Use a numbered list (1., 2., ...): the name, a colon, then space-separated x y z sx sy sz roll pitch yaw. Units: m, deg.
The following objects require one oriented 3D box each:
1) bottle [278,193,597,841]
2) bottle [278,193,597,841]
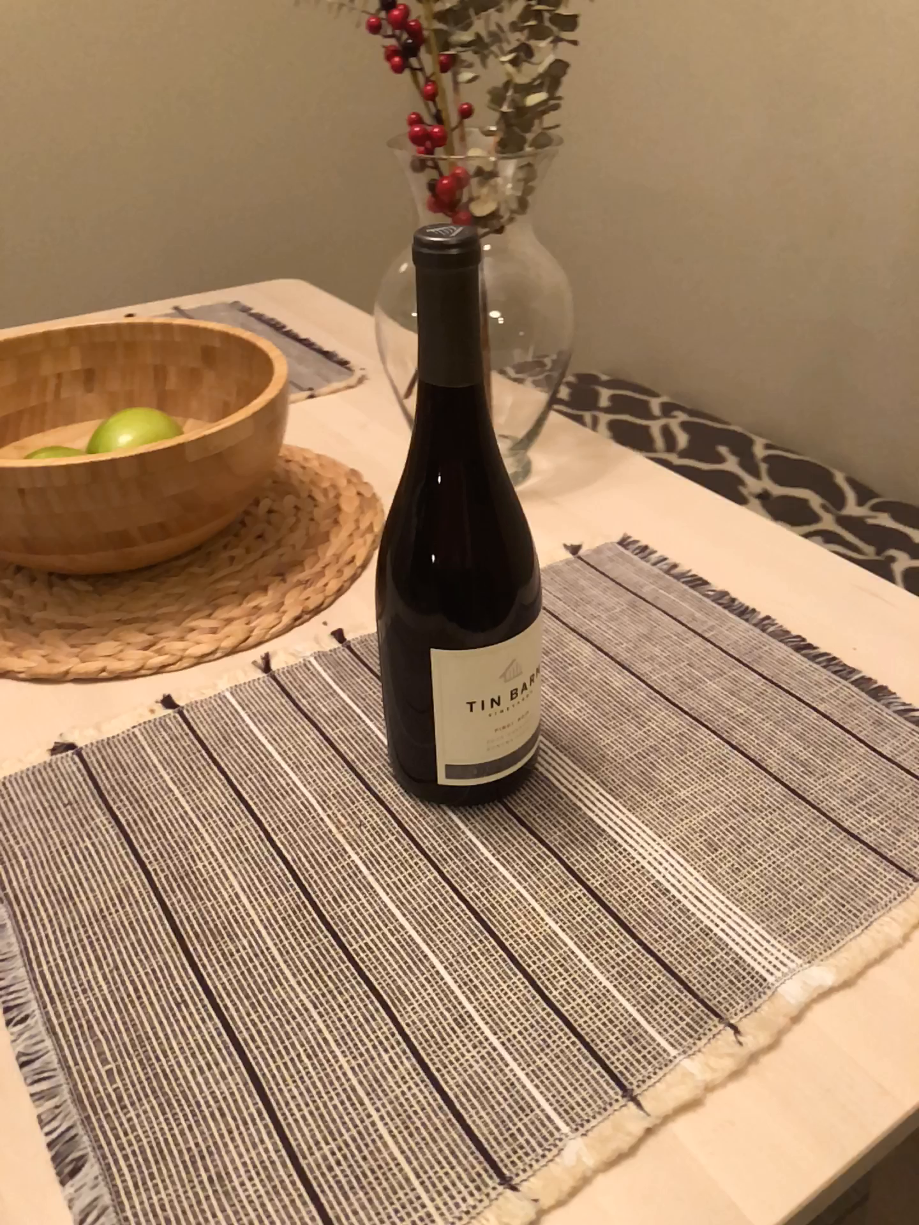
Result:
1. bottle: -0.008 -0.040 0.500 0.090 0.288 0.100 -26 40 -33
2. bottle: -0.008 -0.040 0.500 0.090 0.288 0.100 -26 40 -33
